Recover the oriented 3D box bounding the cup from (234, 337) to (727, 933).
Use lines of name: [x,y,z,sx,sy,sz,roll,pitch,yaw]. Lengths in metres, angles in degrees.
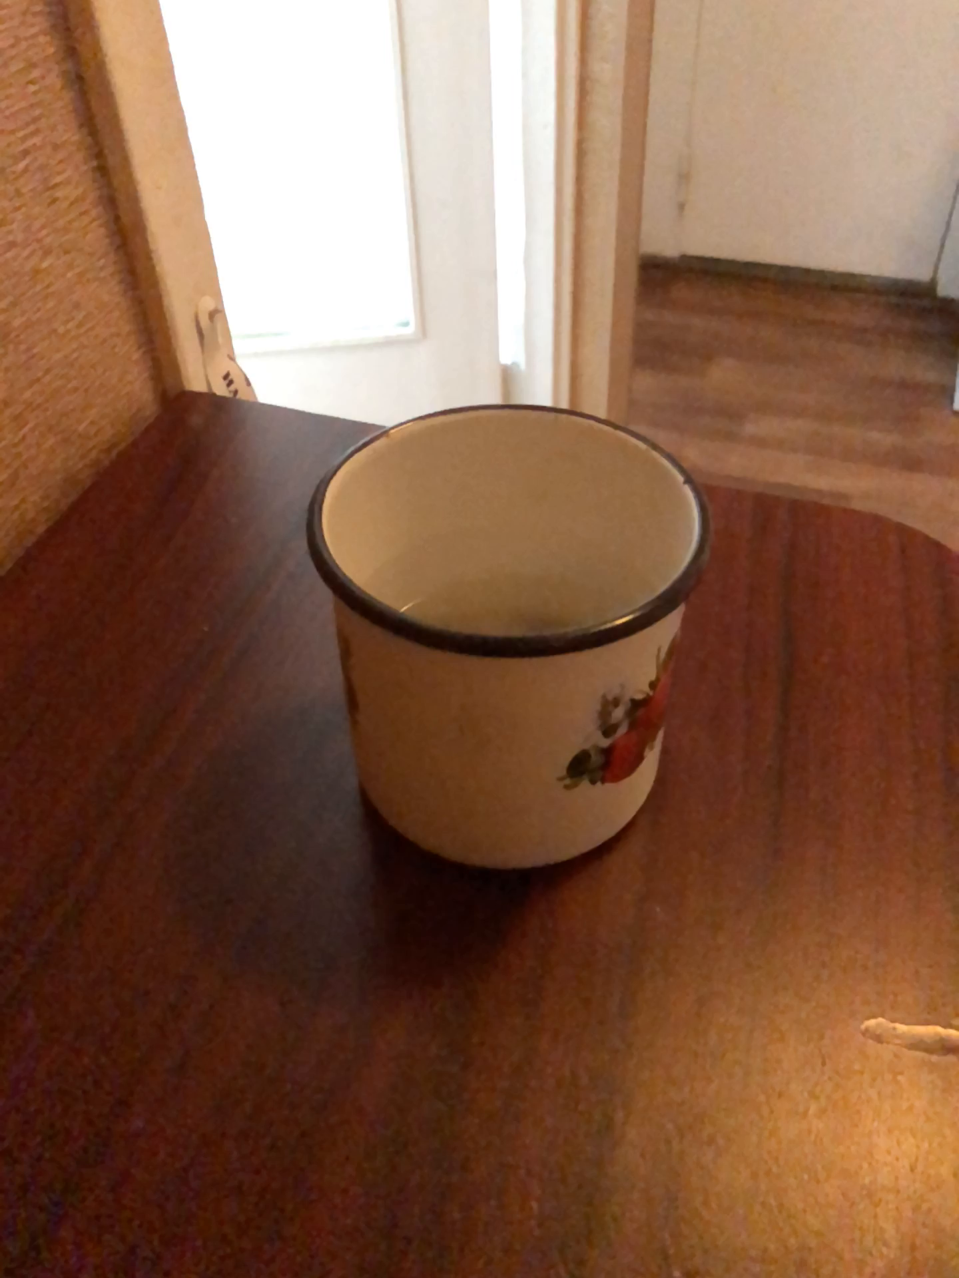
cup: [0.013,-0.009,0.358,0.118,0.113,0.156,7,44,11]
